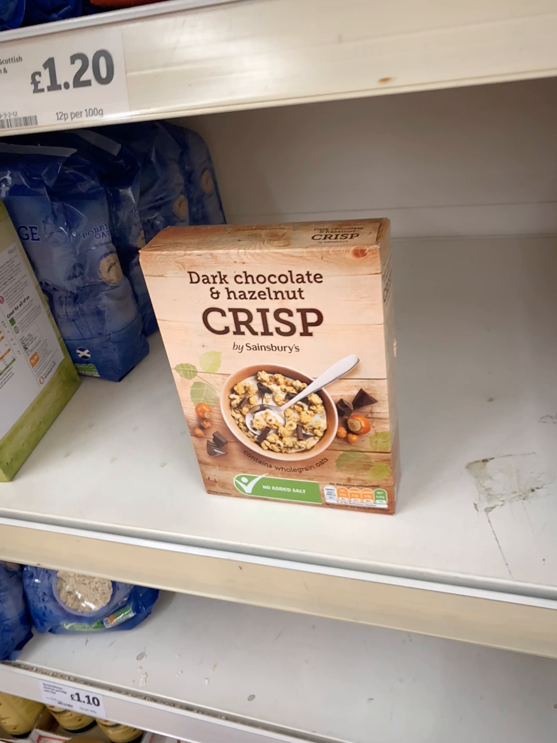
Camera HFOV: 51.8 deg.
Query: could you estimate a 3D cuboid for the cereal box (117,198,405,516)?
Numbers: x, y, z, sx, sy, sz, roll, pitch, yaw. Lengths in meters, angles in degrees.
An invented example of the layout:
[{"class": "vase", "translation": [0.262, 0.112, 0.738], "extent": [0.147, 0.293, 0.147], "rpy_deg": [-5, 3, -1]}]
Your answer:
[{"class": "cereal box", "translation": [0.001, -0.004, 0.468], "extent": [0.190, 0.248, 0.060], "rpy_deg": [2, 34, 18]}]
